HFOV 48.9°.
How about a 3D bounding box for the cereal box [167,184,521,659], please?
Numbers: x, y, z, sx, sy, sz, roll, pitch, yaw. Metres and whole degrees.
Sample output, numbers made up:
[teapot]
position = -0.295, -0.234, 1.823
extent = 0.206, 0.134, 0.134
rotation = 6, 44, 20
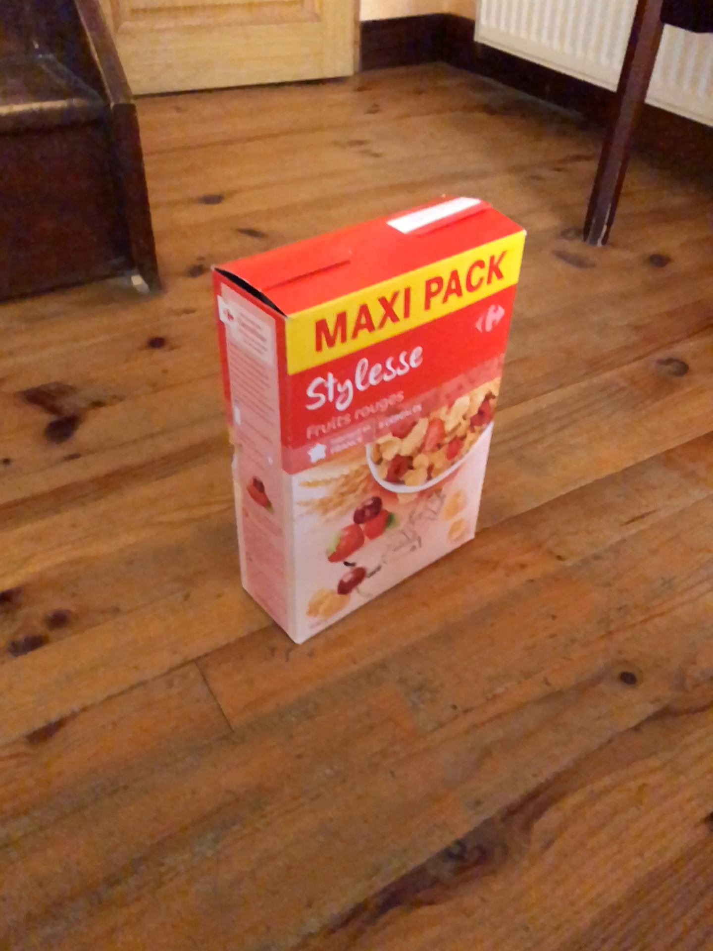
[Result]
[cereal box]
position = -0.006, -0.036, 0.580
extent = 0.211, 0.288, 0.090
rotation = -27, 48, -30
